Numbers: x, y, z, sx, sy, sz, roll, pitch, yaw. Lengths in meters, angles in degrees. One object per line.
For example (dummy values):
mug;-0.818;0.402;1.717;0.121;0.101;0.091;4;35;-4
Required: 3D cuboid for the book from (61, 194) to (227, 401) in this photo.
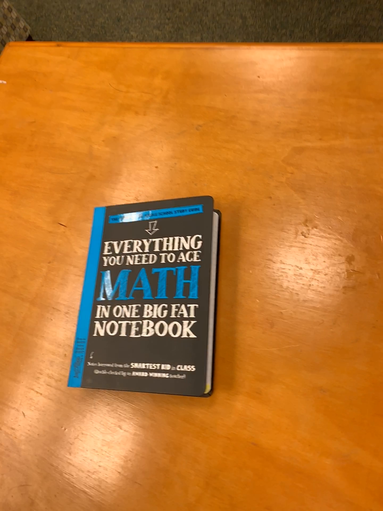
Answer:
book;-0.048;0.043;0.437;0.160;0.040;0.210;-3;71;20
